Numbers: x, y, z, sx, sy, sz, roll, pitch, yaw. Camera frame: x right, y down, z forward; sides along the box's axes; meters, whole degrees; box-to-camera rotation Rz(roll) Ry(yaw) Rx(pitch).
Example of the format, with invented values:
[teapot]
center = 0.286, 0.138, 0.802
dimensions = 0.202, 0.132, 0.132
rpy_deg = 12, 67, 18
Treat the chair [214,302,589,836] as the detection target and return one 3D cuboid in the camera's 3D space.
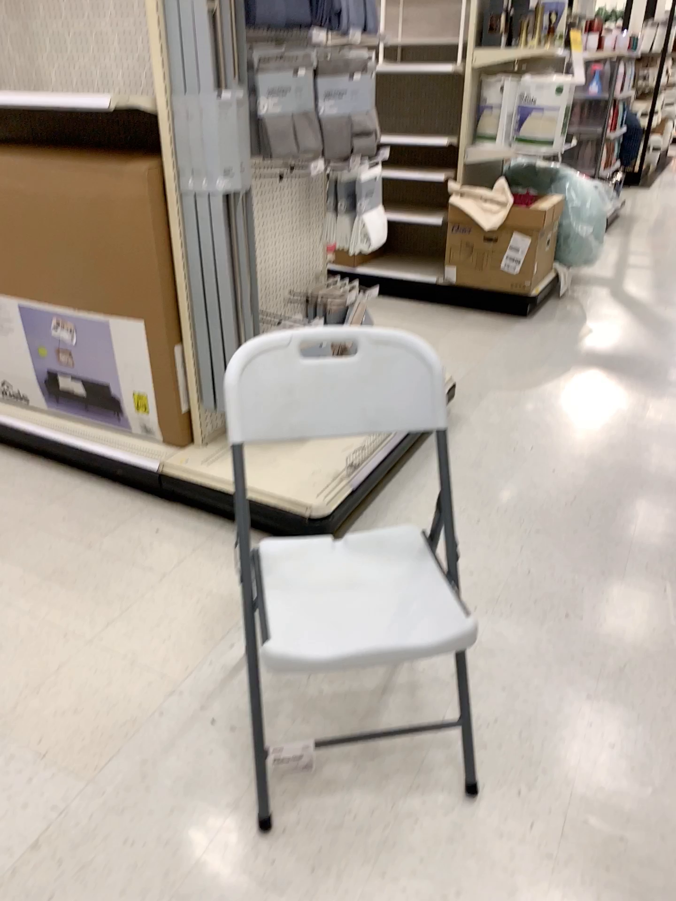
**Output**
[chair]
center = 0.053, 0.209, 1.405
dimensions = 0.520, 0.846, 0.573
rpy_deg = -5, 29, -10
